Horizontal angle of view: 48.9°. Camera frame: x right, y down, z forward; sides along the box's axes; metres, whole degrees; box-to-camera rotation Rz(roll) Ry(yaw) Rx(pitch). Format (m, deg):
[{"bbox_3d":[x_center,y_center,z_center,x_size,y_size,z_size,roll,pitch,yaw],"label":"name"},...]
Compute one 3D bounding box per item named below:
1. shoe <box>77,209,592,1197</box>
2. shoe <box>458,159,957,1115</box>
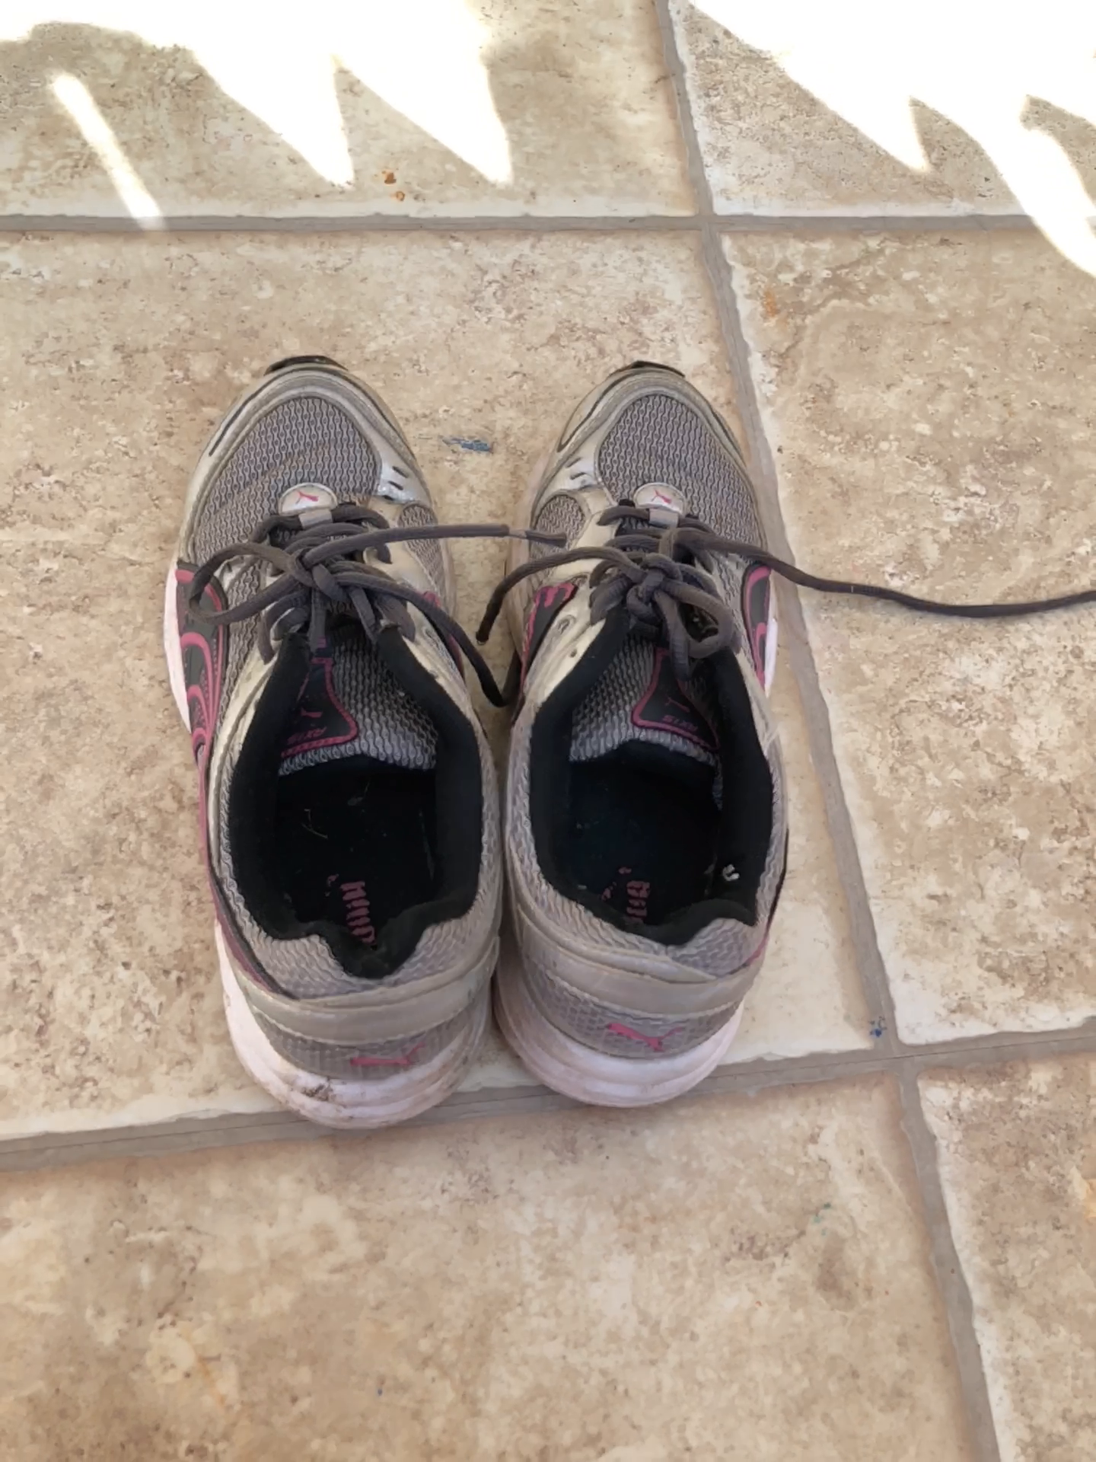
[{"bbox_3d":[-0.074,-0.009,0.383,0.110,0.139,0.271,-6,66,-9],"label":"shoe"},{"bbox_3d":[0.036,-0.027,0.393,0.110,0.139,0.271,4,65,-4],"label":"shoe"}]
